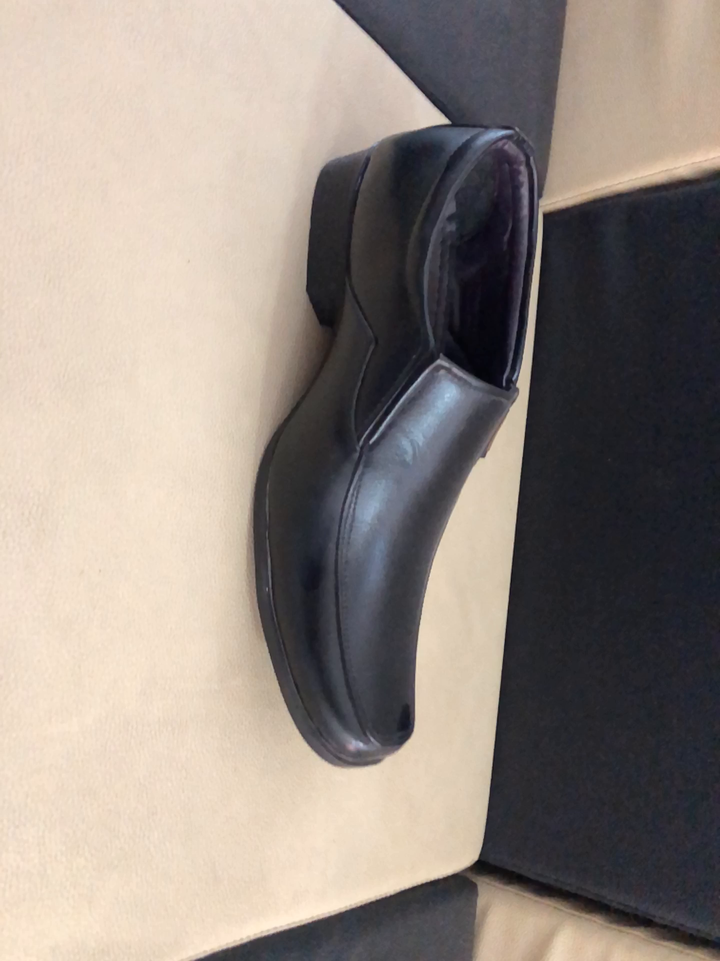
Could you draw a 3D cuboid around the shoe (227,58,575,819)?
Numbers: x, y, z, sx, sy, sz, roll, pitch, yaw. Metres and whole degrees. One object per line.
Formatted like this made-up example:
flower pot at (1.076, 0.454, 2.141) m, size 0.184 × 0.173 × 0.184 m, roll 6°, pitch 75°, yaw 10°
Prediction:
shoe at (0.026, -0.016, 0.362) m, size 0.101 × 0.089 × 0.290 m, roll 16°, pitch 76°, yaw -49°
